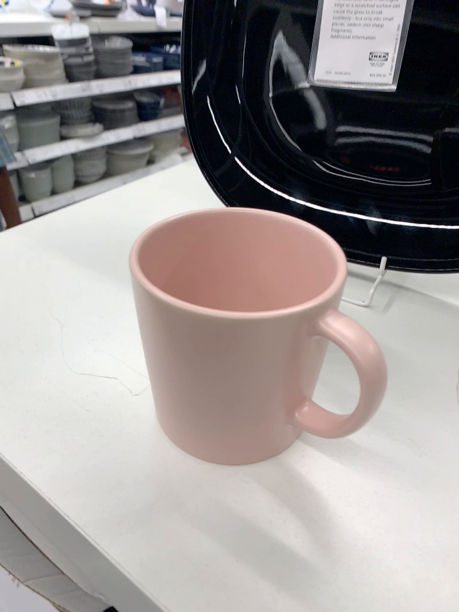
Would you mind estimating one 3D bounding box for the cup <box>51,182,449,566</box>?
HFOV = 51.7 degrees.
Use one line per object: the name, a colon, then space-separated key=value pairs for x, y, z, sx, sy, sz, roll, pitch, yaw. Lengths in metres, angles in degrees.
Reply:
cup: x=0.003 y=0.013 z=0.200 sx=0.120 sy=0.080 sz=0.090 roll=31 pitch=43 yaw=34
